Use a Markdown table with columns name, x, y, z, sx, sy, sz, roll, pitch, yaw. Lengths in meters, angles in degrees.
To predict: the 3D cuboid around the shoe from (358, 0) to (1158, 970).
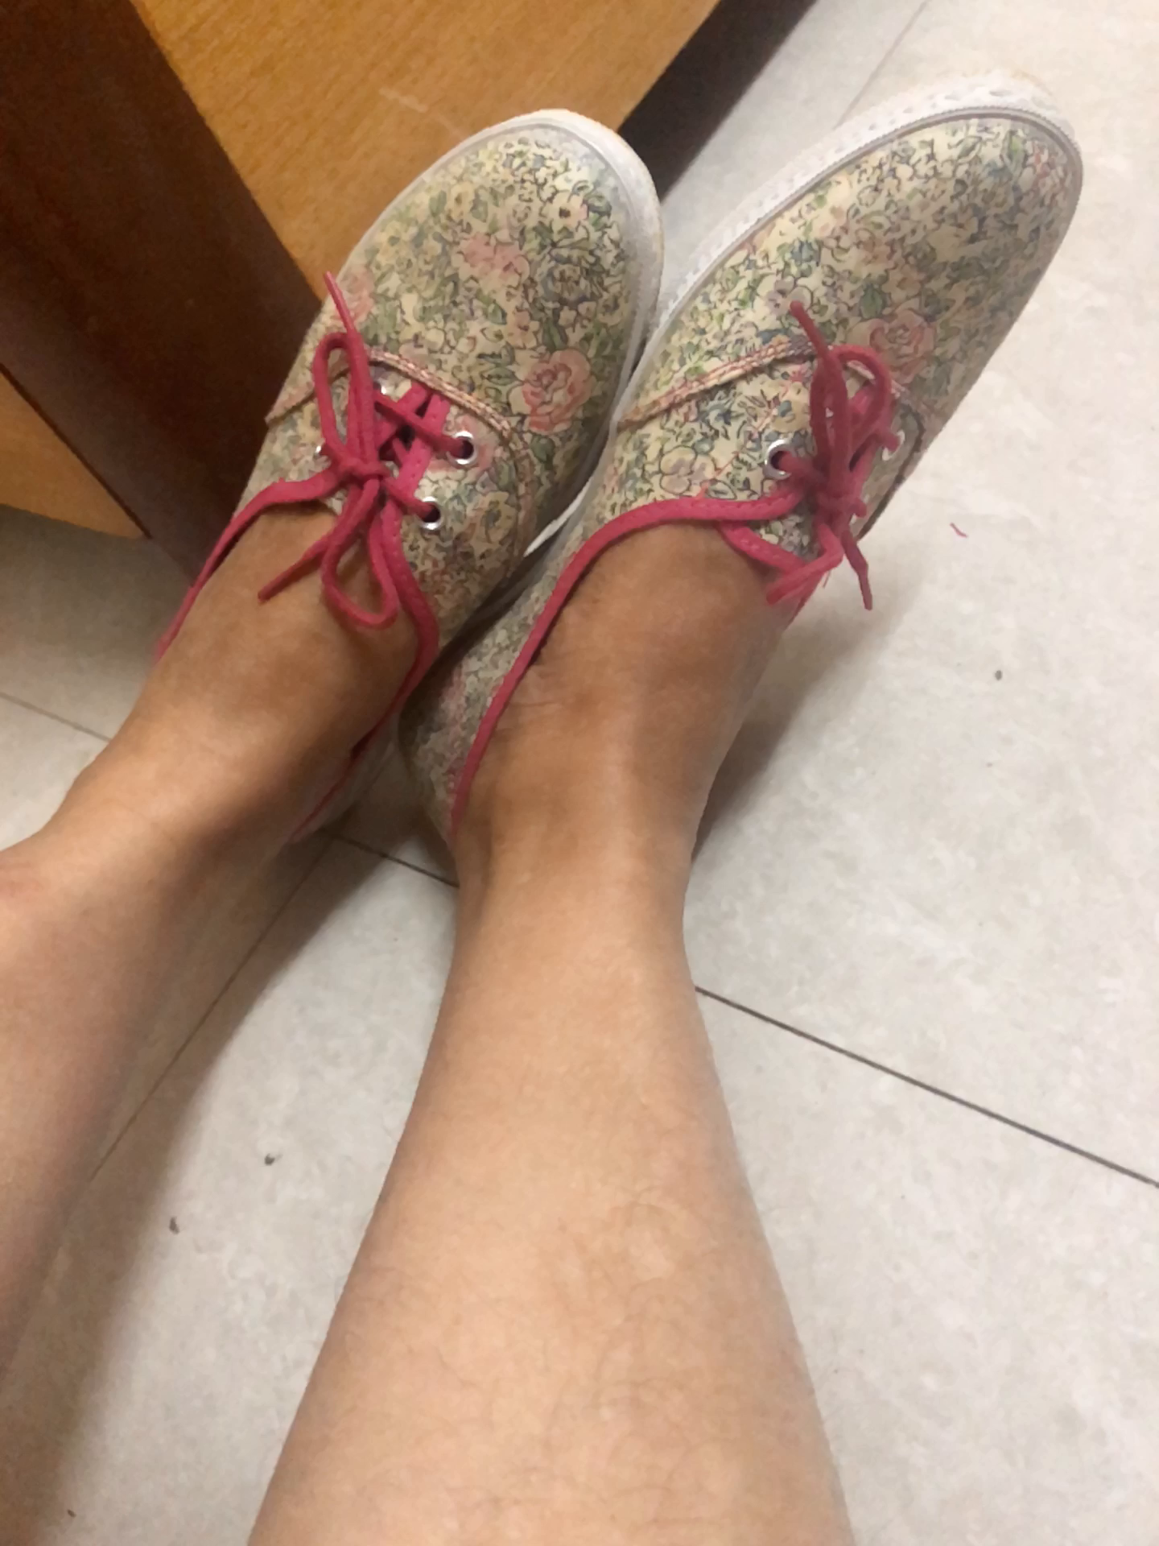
| name | x | y | z | sx | sy | sz | roll | pitch | yaw |
| --- | --- | --- | --- | --- | --- | --- | --- | --- | --- |
| shoe | 0.037 | -0.064 | 0.361 | 0.259 | 0.090 | 0.070 | -53 | 30 | 29 |

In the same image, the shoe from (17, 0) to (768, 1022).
| name | x | y | z | sx | sy | sz | roll | pitch | yaw |
| --- | --- | --- | --- | --- | --- | --- | --- | --- | --- |
| shoe | -0.061 | -0.058 | 0.359 | 0.259 | 0.090 | 0.070 | -57 | 0 | 29 |
